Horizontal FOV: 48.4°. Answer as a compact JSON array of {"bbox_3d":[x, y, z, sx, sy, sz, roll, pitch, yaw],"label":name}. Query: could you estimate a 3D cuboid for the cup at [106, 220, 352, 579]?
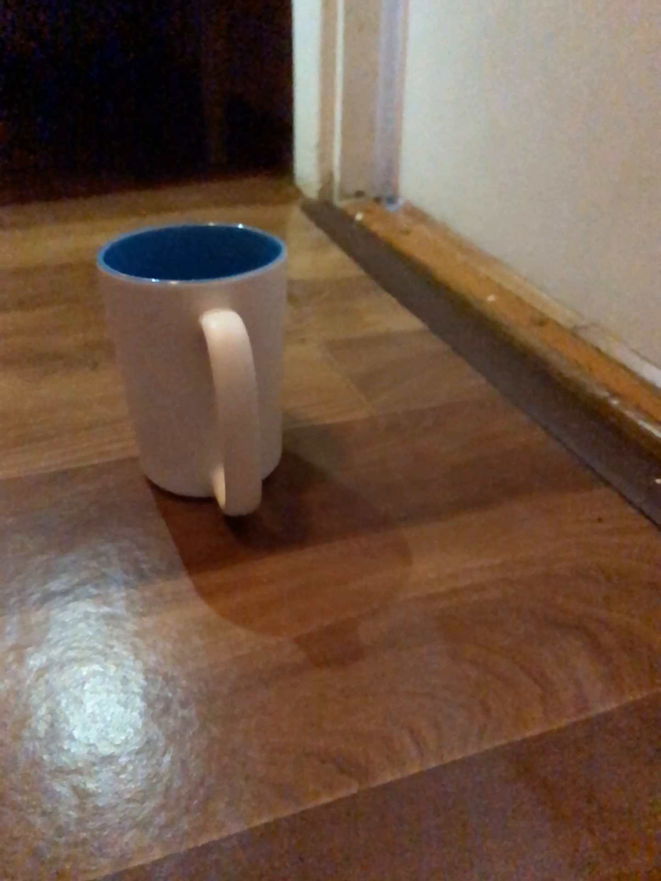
[{"bbox_3d":[-0.052,-0.027,0.350,0.088,0.112,0.130,-8,33,-13],"label":"cup"}]
